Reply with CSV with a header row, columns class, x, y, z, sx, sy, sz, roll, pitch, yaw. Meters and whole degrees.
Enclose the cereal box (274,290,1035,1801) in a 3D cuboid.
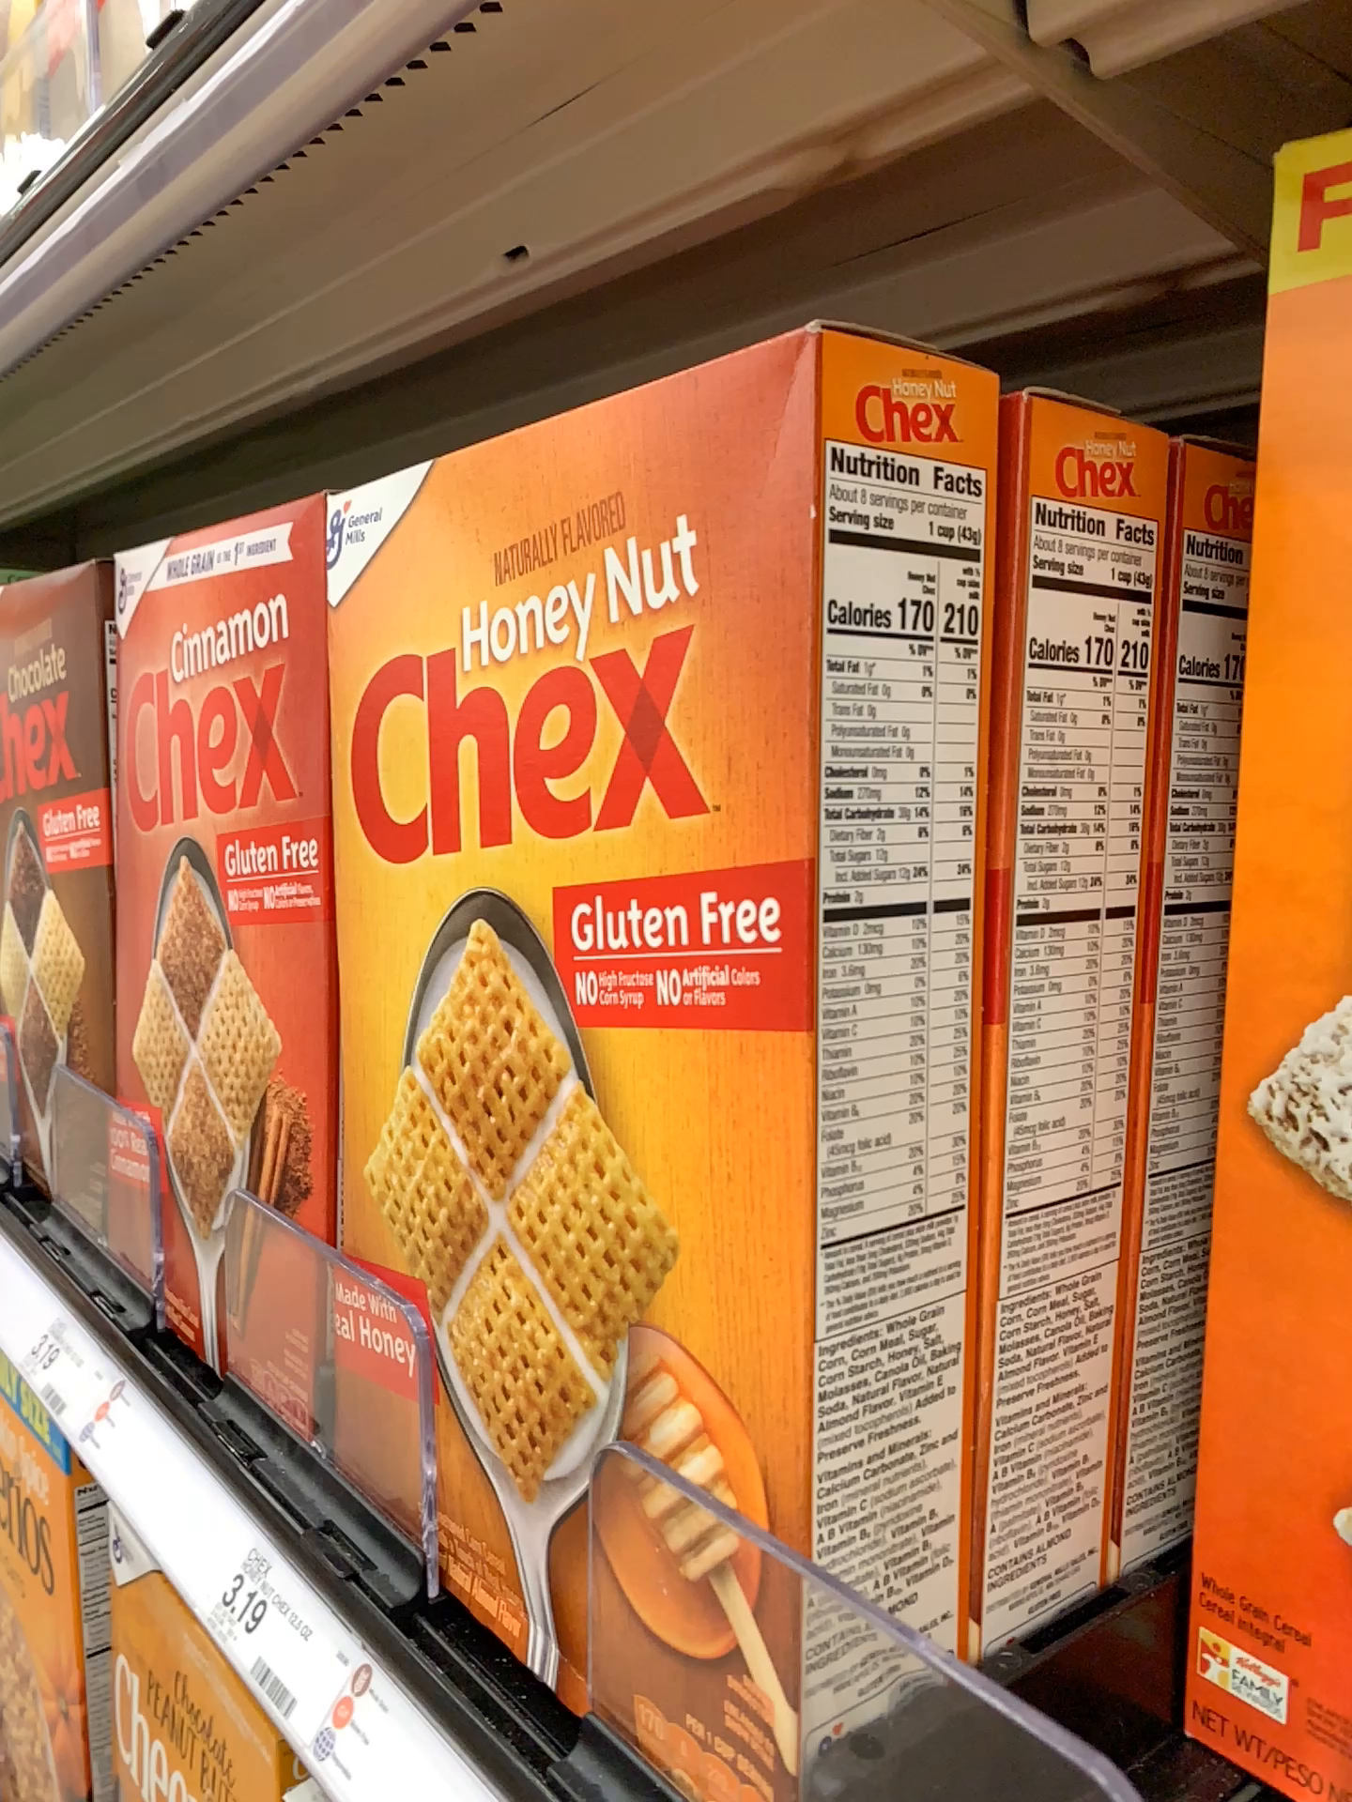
class,x,y,z,sx,sy,sz,roll,pitch,yaw
cereal box,-0.021,0.030,0.333,0.060,0.280,0.200,-5,9,-40
